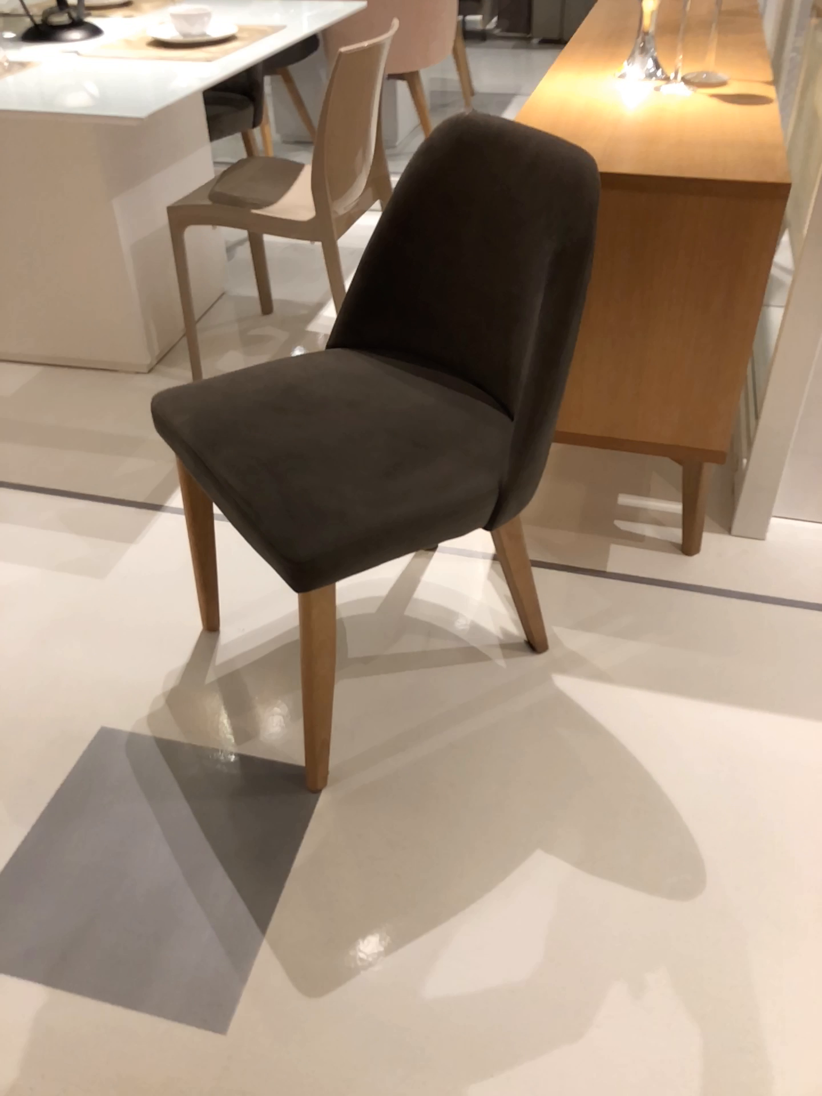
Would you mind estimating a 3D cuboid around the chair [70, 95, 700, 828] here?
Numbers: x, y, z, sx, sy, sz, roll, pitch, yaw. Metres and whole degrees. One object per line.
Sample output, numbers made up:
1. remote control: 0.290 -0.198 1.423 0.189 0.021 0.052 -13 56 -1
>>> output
1. chair: -0.045 -0.151 1.304 0.561 0.774 0.533 -22 42 -24
